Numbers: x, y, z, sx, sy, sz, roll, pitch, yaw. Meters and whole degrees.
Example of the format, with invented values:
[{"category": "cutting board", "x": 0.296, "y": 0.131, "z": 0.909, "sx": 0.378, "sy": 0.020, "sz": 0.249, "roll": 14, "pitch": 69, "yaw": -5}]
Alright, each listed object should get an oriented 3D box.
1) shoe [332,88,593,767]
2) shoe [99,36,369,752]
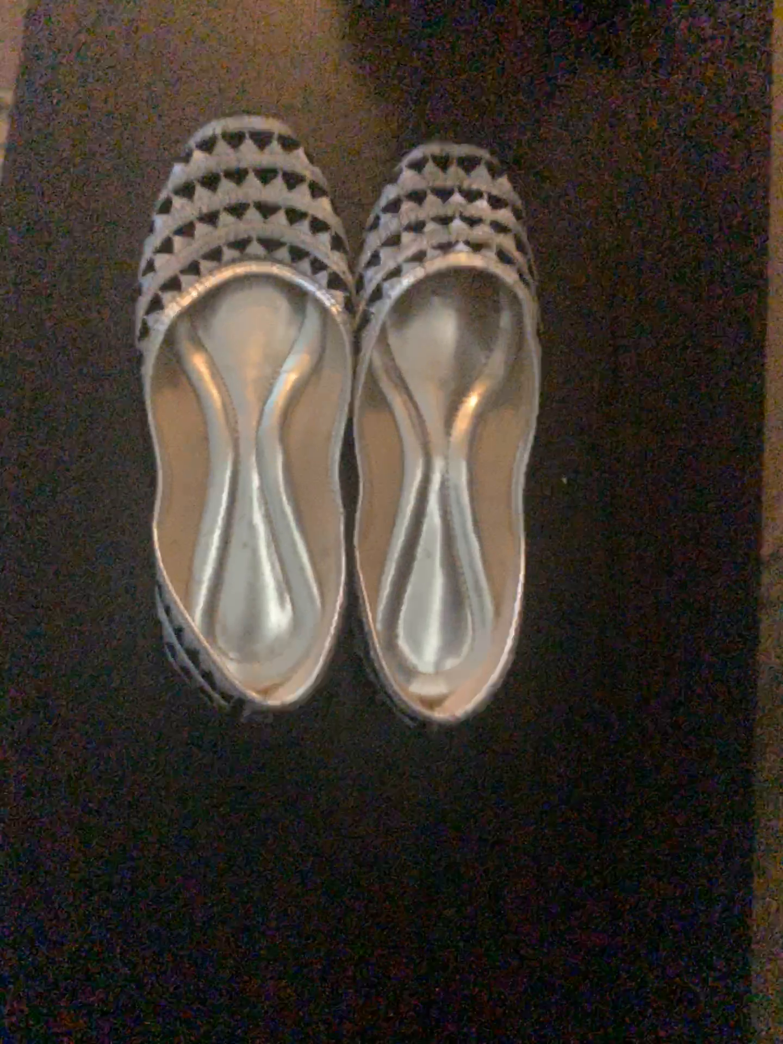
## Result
[{"category": "shoe", "x": 0.028, "y": -0.038, "z": 0.359, "sx": 0.095, "sy": 0.070, "sz": 0.270, "roll": 2, "pitch": 83, "yaw": -10}, {"category": "shoe", "x": -0.063, "y": -0.050, "z": 0.341, "sx": 0.095, "sy": 0.070, "sz": 0.270, "roll": 0, "pitch": 83, "yaw": -10}]
